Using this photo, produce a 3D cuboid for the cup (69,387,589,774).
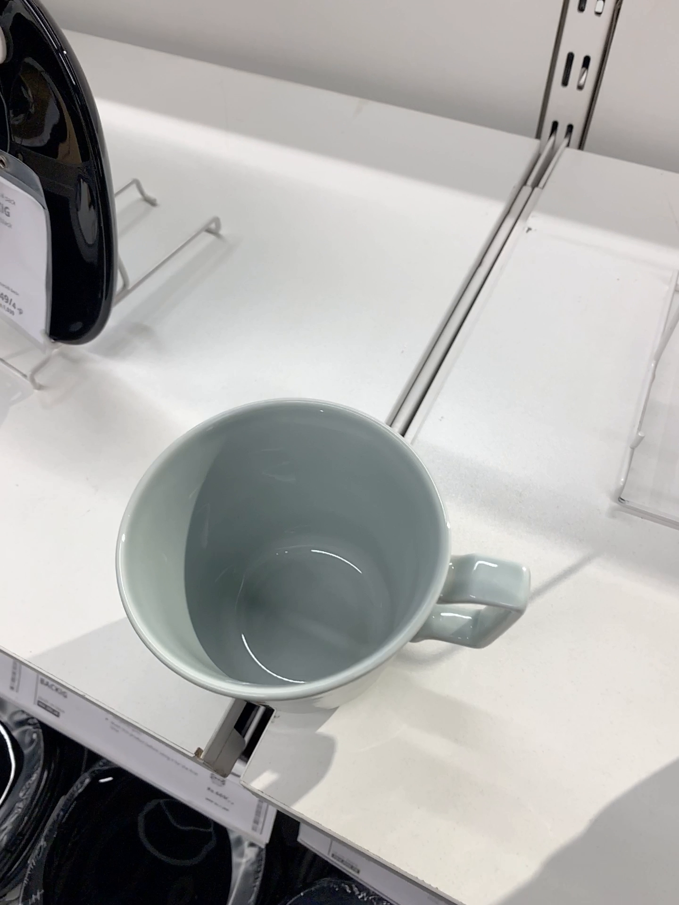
[{"bbox_3d":[-0.004,0.043,0.233,0.130,0.070,0.100,-3,56,1],"label":"cup"}]
